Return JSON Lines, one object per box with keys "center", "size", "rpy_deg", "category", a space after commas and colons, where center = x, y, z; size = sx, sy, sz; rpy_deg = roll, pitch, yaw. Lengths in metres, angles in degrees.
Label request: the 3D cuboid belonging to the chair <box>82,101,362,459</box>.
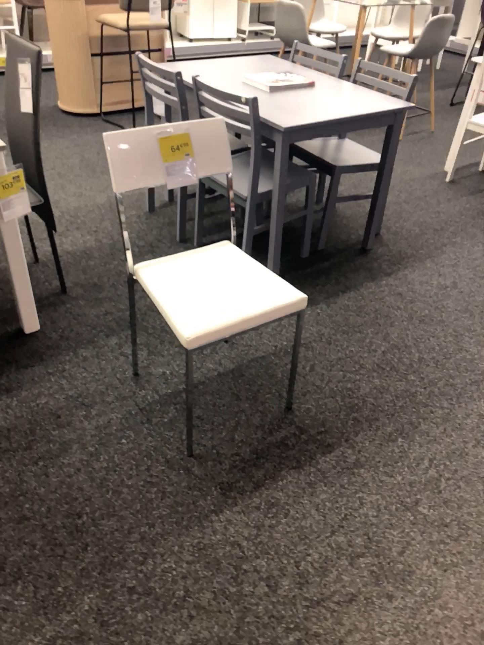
{"center": [-0.087, -0.145, 1.599], "size": [0.502, 0.815, 0.541], "rpy_deg": [-21, 43, -30], "category": "chair"}
